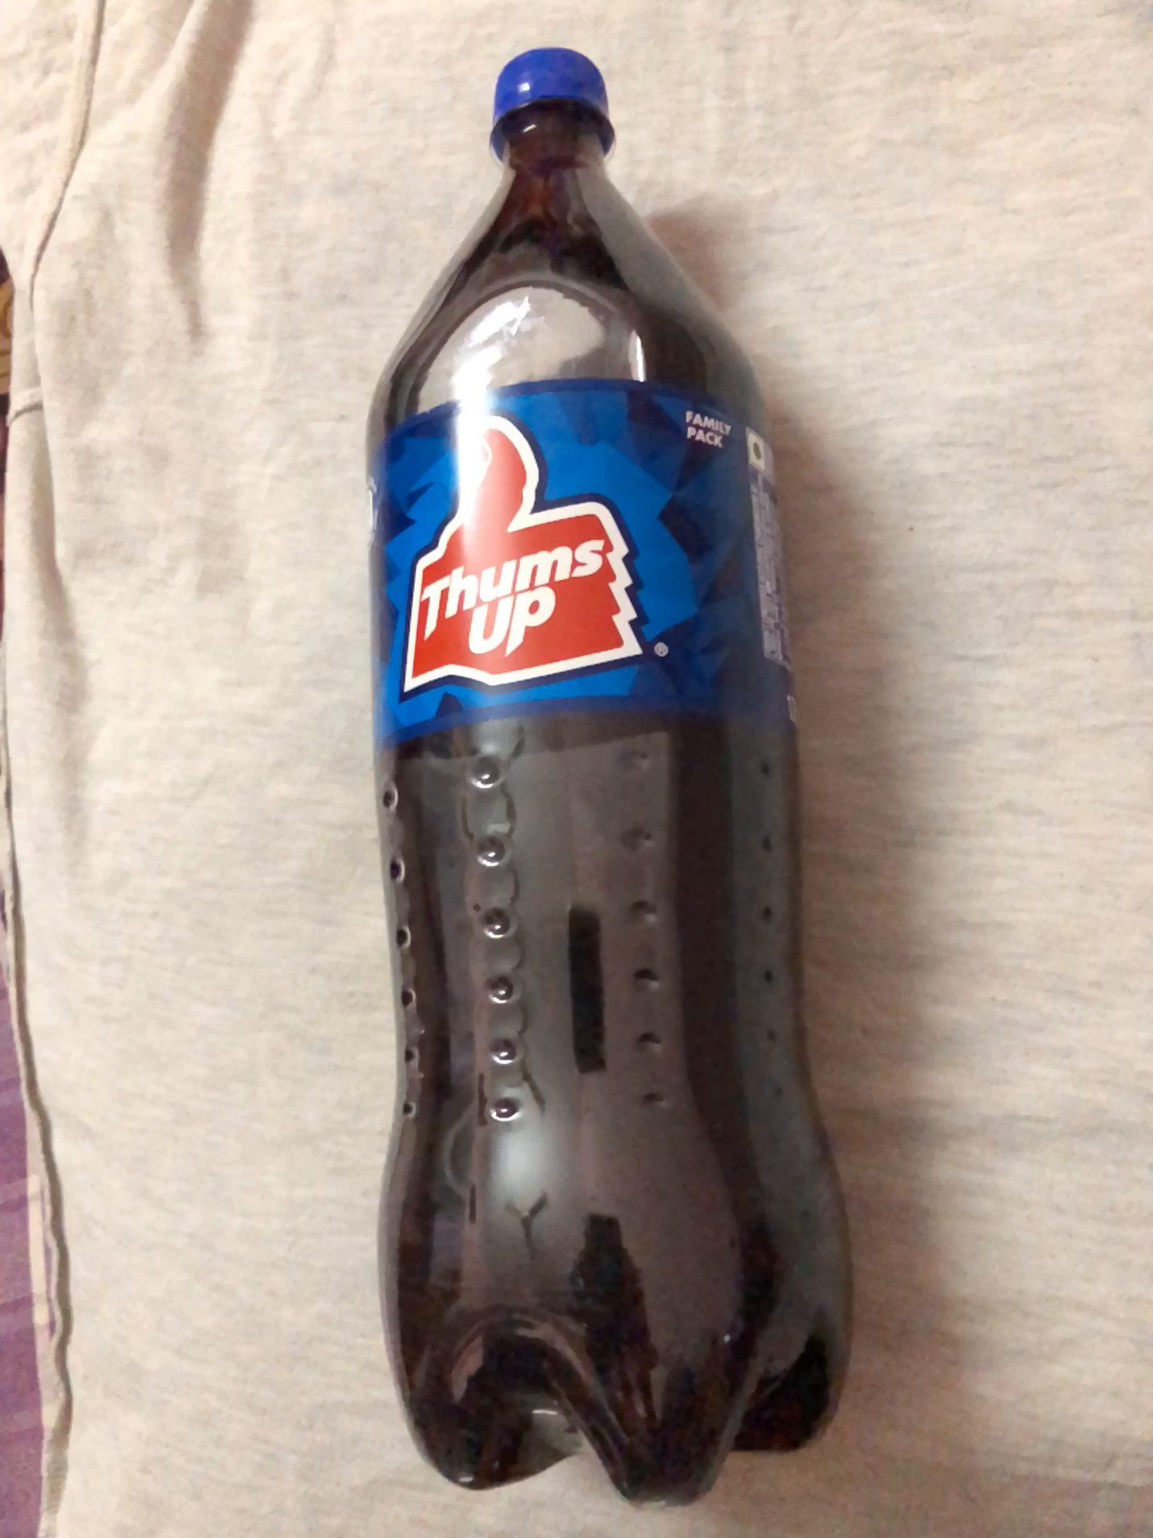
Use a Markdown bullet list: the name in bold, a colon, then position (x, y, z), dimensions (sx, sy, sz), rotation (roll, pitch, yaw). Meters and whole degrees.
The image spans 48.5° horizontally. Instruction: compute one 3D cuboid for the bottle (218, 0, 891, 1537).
- **bottle**: position (-0.009, -0.023, 0.256), dimensions (0.100, 0.060, 0.300), rotation (-8, 78, 20)
